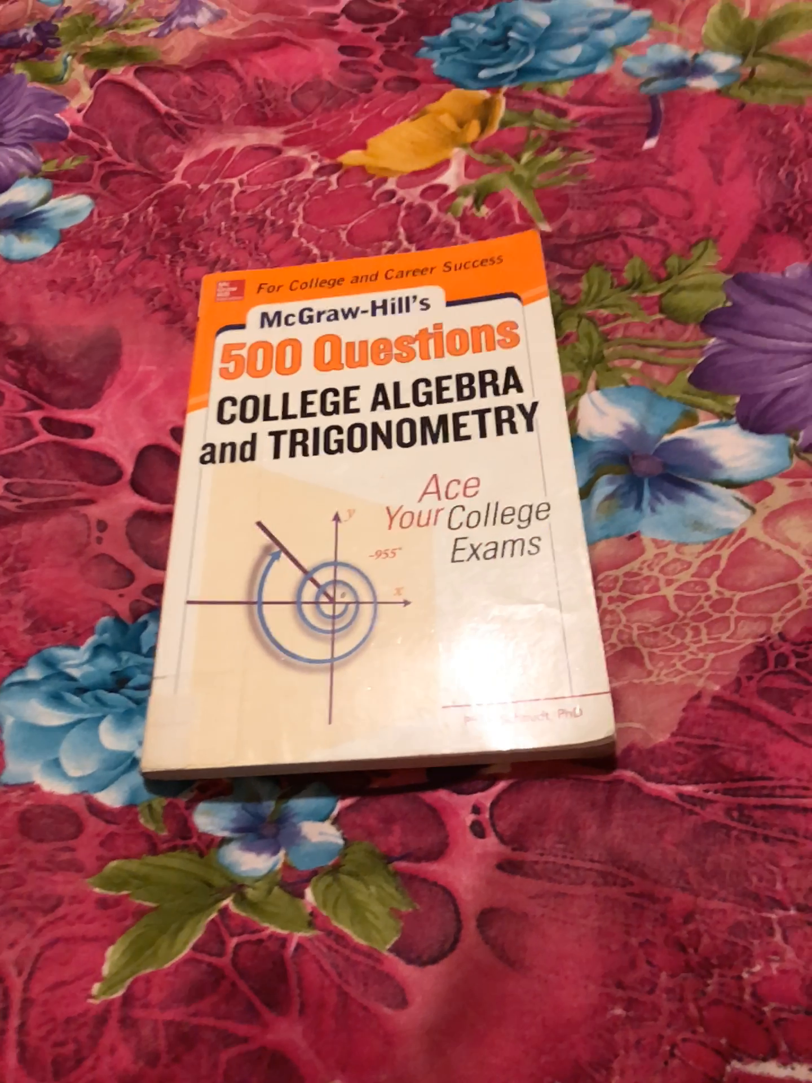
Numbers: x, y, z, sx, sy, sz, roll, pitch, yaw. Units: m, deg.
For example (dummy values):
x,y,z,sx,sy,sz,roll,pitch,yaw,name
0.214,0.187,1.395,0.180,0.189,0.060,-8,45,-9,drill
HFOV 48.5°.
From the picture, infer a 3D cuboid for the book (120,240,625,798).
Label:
x,y,z,sx,sy,sz,roll,pitch,yaw,name
-0.013,-0.021,0.341,0.156,0.022,0.220,-4,60,5,book
